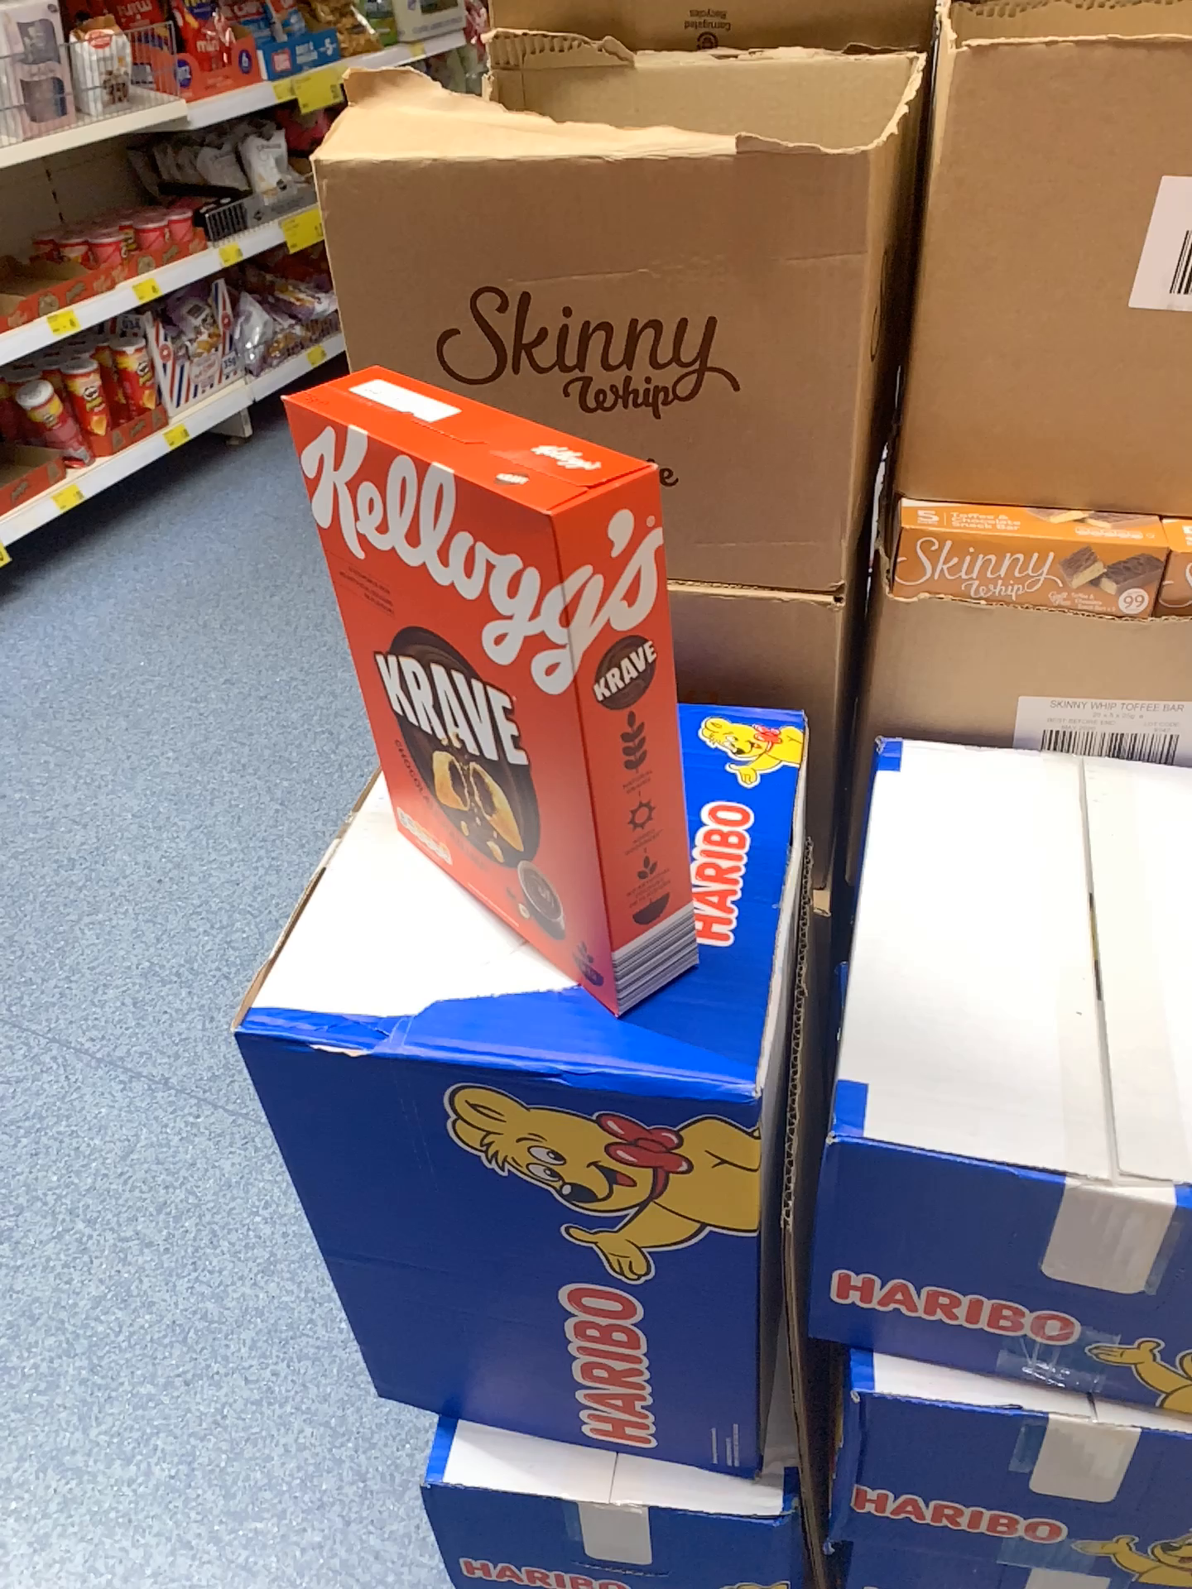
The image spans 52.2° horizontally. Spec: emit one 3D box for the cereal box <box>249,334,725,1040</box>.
[{"bbox_3d":[-0.043,-0.048,0.514,0.060,0.238,0.201,-30,42,-26],"label":"cereal box"}]
